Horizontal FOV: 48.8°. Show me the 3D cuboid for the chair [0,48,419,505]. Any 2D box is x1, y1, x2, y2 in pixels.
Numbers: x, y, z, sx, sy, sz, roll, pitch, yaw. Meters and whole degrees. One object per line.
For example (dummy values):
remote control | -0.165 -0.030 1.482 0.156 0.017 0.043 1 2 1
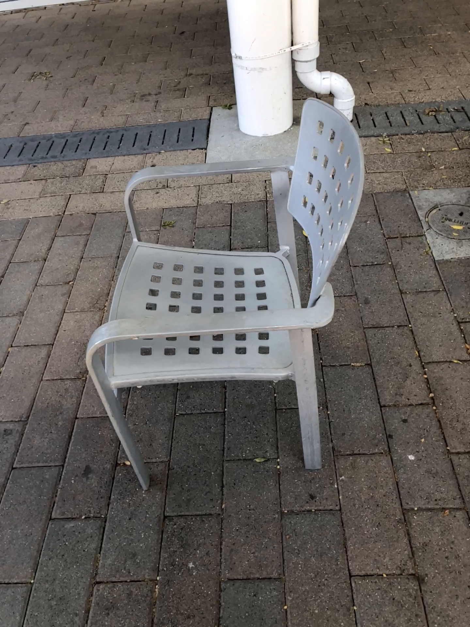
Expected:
chair | -0.047 -0.057 1.174 0.590 0.777 0.633 -3 46 1
